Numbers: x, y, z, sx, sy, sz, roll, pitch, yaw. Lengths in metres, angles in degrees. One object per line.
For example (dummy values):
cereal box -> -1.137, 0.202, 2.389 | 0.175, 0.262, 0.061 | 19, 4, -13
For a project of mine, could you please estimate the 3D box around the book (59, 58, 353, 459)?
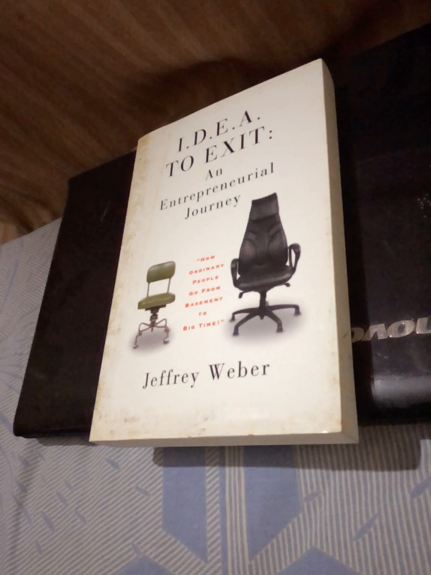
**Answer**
book -> -0.006, -0.022, 0.304 | 0.160, 0.030, 0.240 | -14, 56, 29
